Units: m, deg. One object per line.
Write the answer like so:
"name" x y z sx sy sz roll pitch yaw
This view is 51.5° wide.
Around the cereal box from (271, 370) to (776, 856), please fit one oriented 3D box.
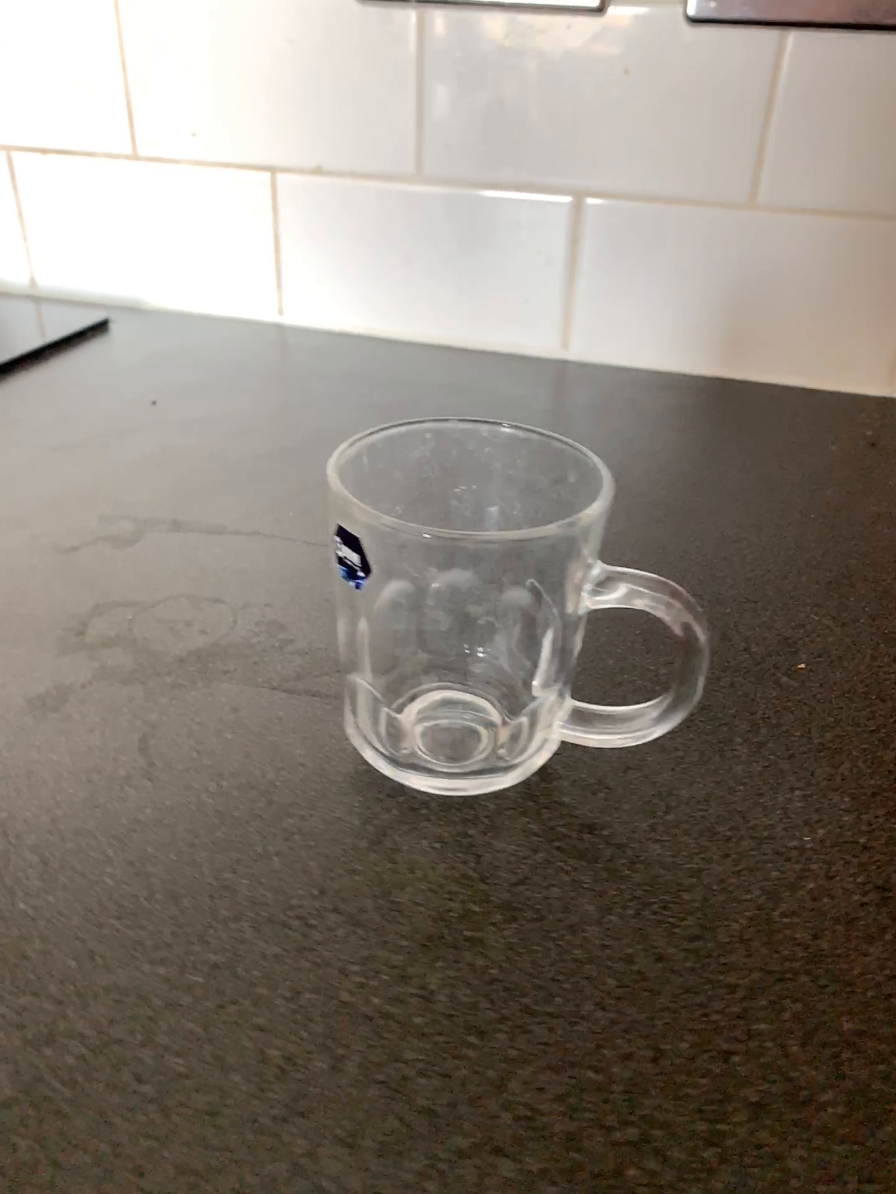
"cereal box" 0.021 -0.001 0.256 0.110 0.089 0.081 9 31 10
